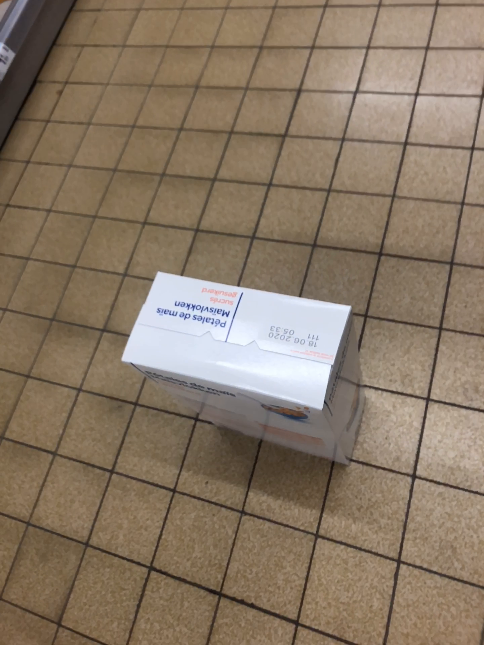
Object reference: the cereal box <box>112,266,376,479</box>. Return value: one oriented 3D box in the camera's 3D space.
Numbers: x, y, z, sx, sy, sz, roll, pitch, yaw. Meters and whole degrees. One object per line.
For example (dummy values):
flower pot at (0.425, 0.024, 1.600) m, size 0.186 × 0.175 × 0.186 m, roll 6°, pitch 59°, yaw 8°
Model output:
cereal box at (0.031, 0.072, 0.591) m, size 0.200 × 0.299 × 0.110 m, roll 12°, pitch 72°, yaw 20°
